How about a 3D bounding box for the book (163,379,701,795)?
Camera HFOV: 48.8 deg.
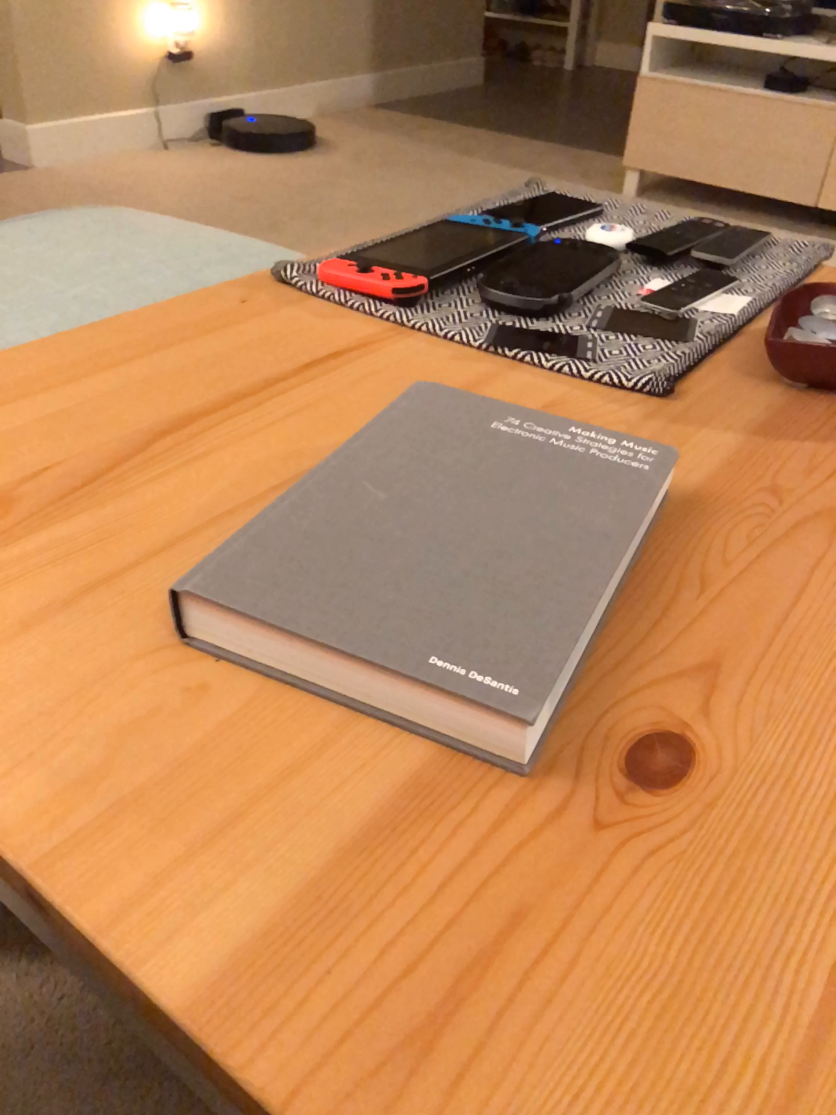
[{"bbox_3d":[0.022,-0.009,0.436,0.166,0.030,0.229,19,39,20],"label":"book"}]
